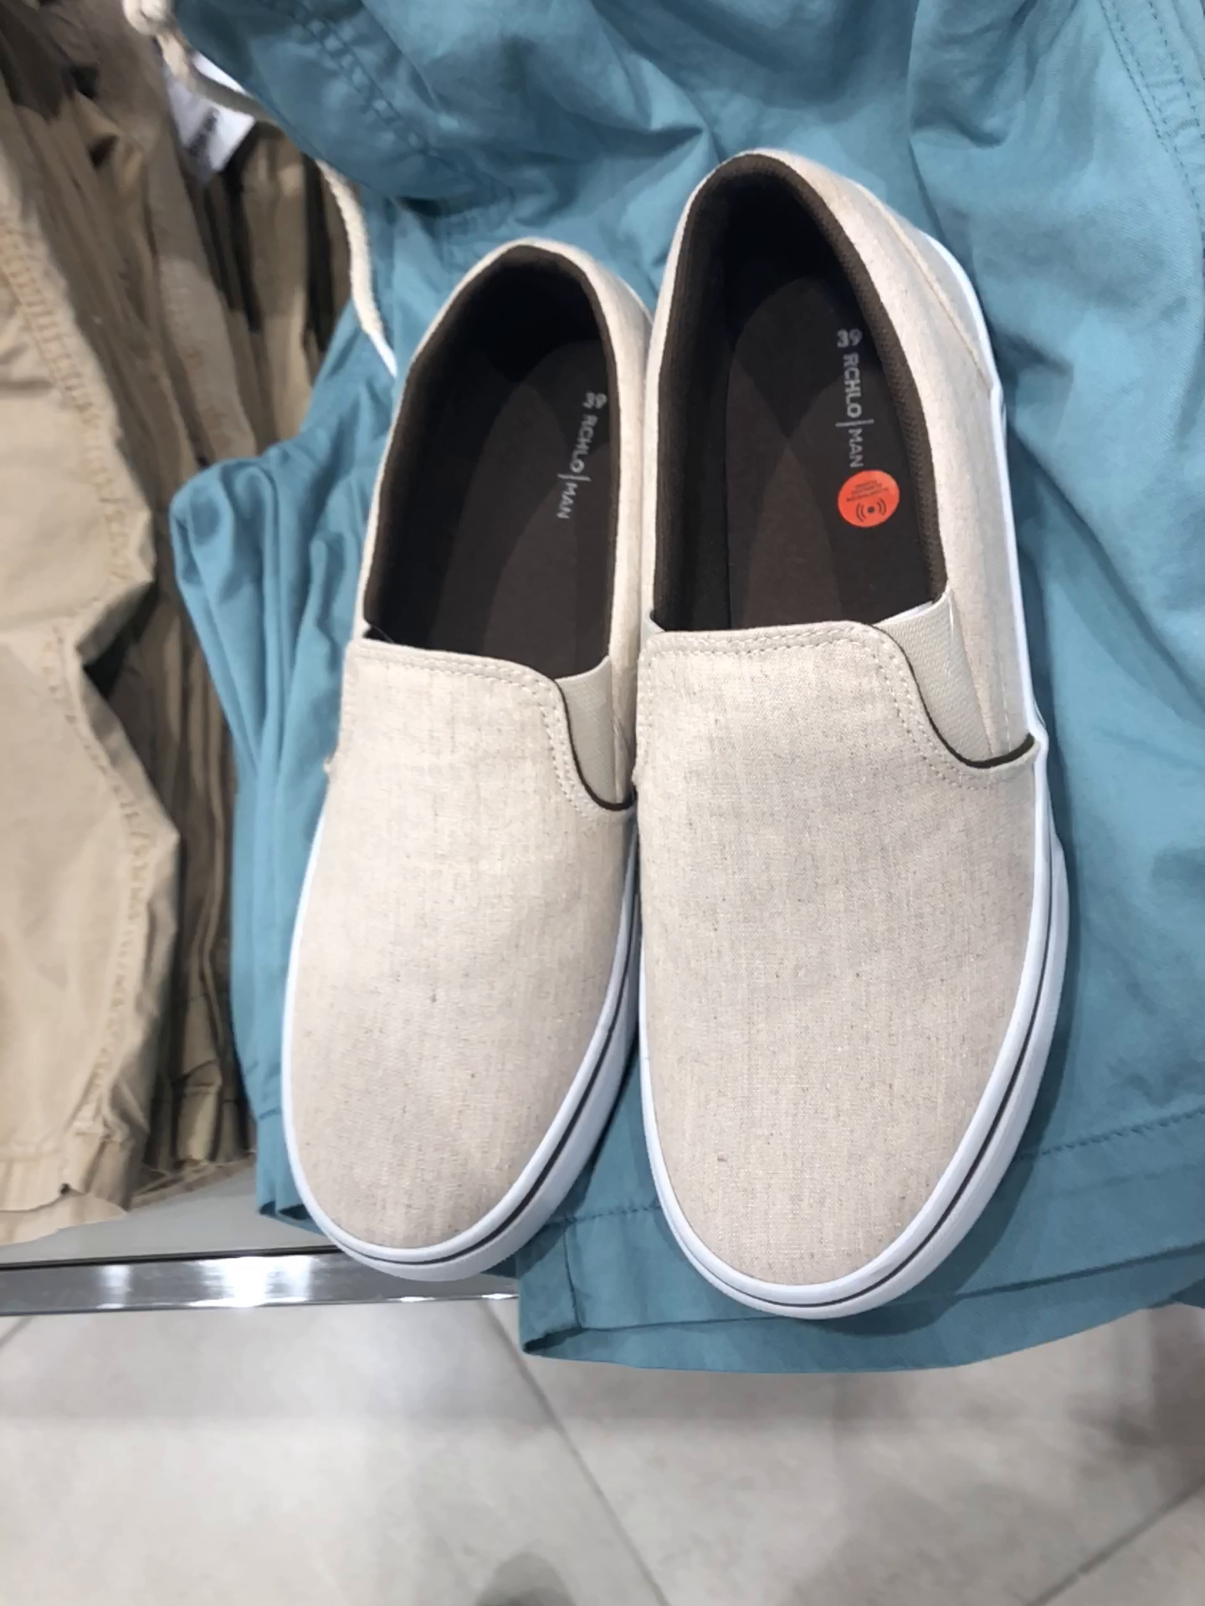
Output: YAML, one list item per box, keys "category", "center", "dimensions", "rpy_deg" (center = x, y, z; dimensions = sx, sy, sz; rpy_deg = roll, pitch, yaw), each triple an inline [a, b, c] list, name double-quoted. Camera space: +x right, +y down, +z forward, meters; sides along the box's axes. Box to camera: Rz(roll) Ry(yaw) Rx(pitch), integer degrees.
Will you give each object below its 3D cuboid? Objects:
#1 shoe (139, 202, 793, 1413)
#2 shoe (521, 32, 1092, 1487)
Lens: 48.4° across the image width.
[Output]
- category: "shoe"
  center: [-0.030, -0.003, 0.347]
  dimensions: [0.100, 0.090, 0.260]
  rpy_deg: [7, 88, 26]
- category: "shoe"
  center: [0.050, -0.009, 0.299]
  dimensions: [0.100, 0.090, 0.260]
  rpy_deg: [-2, 84, 24]
